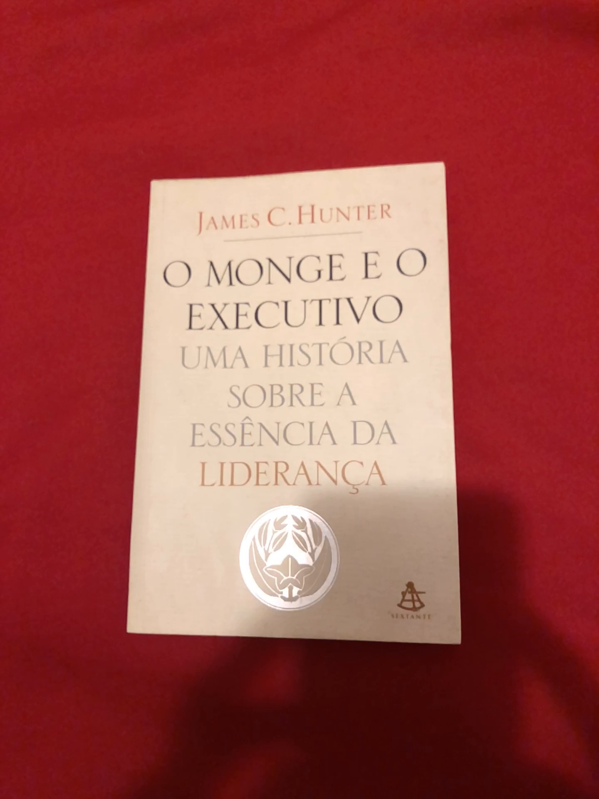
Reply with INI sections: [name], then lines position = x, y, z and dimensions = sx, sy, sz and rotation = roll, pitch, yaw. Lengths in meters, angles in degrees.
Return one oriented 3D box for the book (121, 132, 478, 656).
[book]
position = 0.002, -0.008, 0.296
dimensions = 0.140, 0.030, 0.220
rotation = 0, 78, 6
